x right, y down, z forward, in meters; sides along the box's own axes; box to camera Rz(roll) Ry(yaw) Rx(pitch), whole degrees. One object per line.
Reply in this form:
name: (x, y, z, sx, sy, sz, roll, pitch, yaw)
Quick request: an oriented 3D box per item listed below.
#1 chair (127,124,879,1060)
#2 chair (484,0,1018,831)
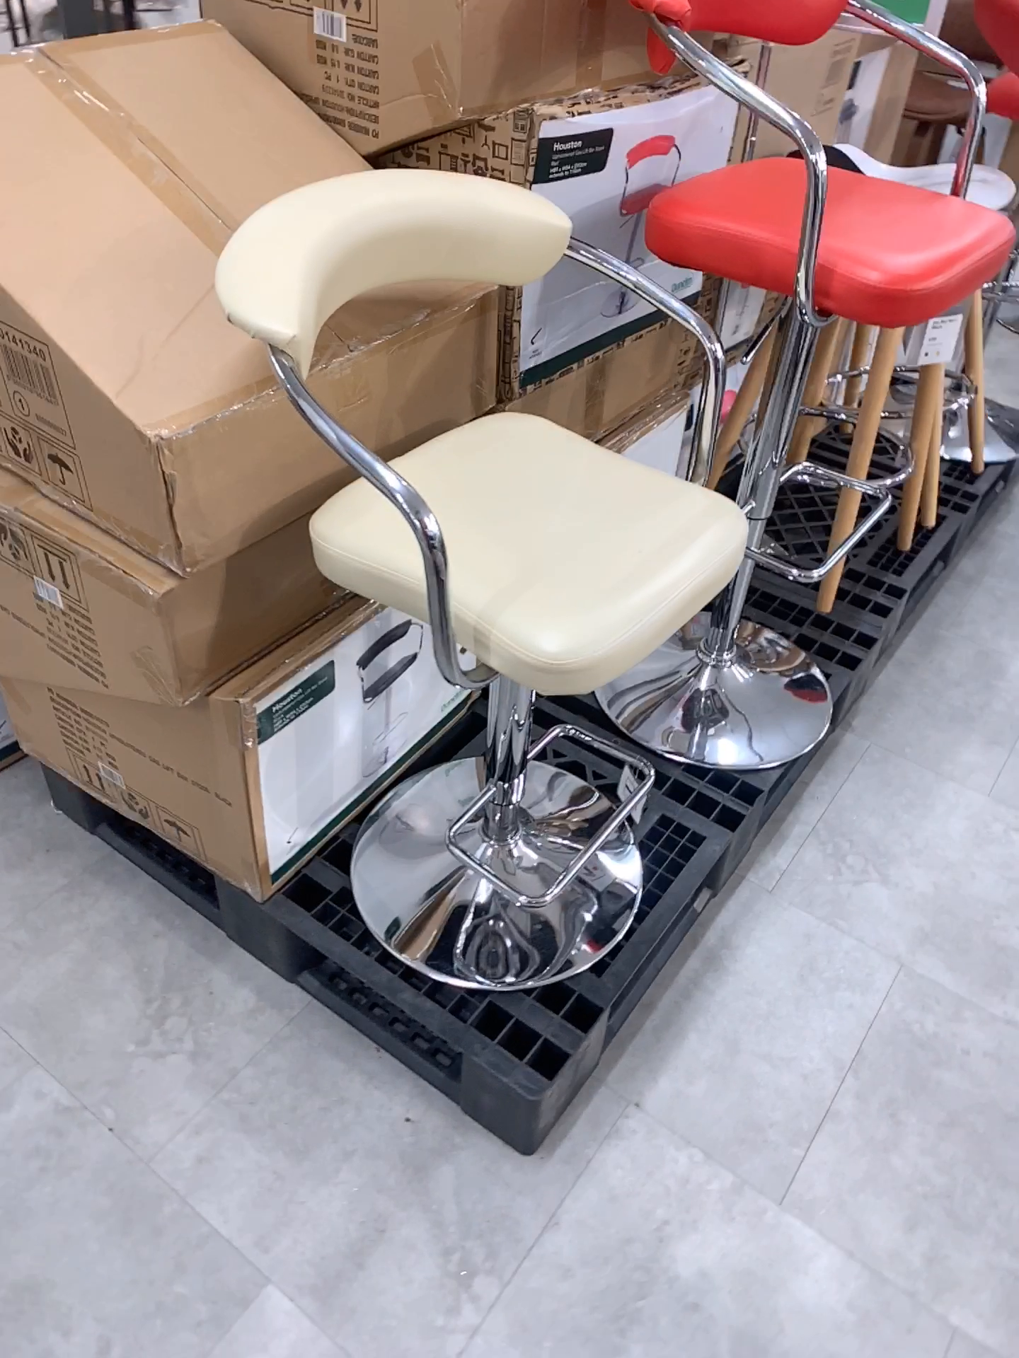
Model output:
chair: (-0.012, -0.095, 1.200, 0.501, 0.840, 0.467, 27, 45, 25)
chair: (0.331, -0.404, 1.486, 0.521, 1.058, 0.477, 27, 45, 26)
